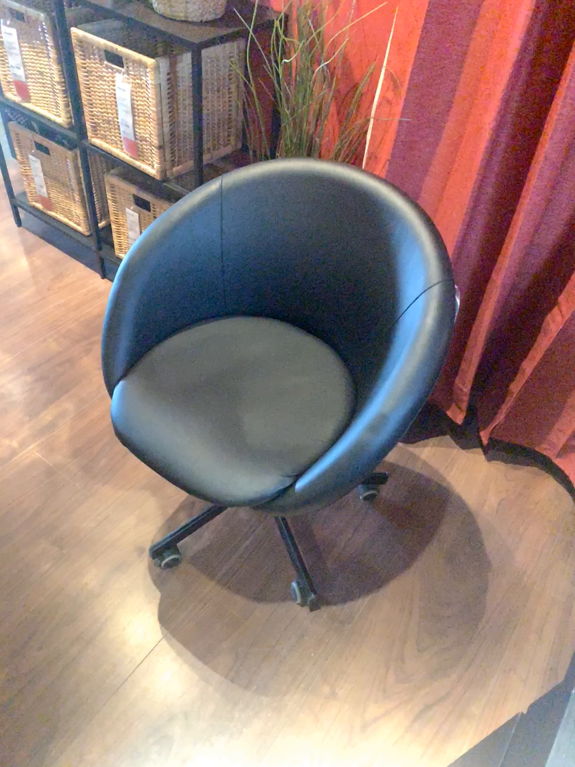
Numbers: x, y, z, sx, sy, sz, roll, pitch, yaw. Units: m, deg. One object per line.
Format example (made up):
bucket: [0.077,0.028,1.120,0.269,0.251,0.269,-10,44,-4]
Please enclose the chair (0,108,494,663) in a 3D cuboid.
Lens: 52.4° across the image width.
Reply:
chair: [-0.096,-0.001,1.140,0.620,0.698,0.582,26,50,16]
